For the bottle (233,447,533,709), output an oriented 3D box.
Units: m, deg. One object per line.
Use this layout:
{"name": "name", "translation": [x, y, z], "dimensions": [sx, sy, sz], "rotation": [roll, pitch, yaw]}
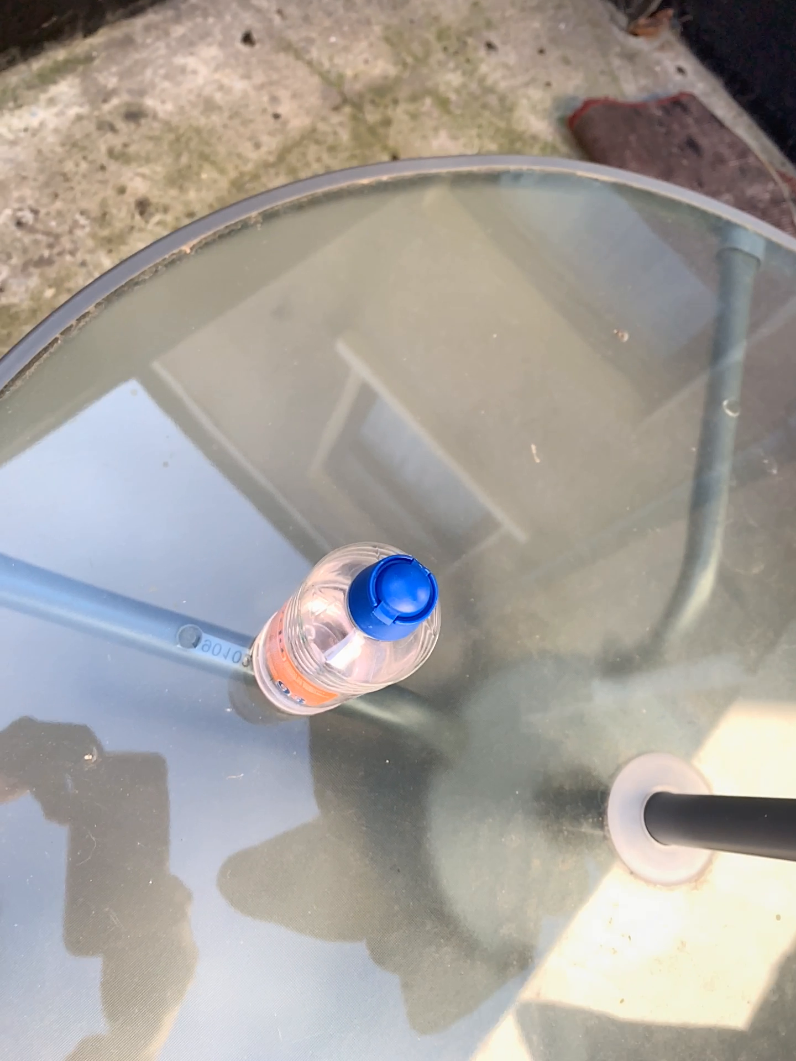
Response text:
{"name": "bottle", "translation": [-0.018, 0.027, 0.312], "dimensions": [0.060, 0.159, 0.060], "rotation": [5, 74, -17]}
